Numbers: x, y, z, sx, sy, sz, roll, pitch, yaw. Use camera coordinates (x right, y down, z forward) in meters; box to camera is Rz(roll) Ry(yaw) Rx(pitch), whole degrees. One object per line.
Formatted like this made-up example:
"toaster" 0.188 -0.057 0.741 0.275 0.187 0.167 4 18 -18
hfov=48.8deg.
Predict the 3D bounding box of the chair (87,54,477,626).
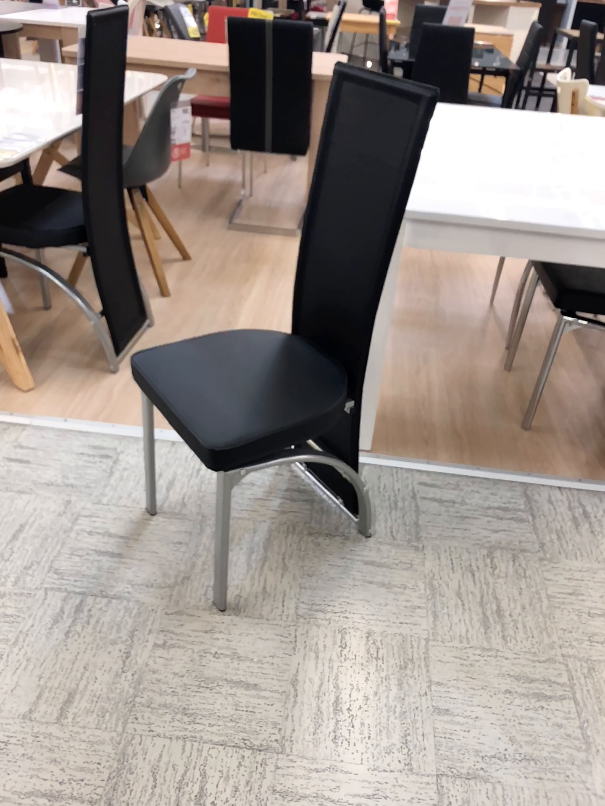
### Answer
"chair" -0.075 -0.132 1.398 0.492 1.013 0.451 -18 39 -30
